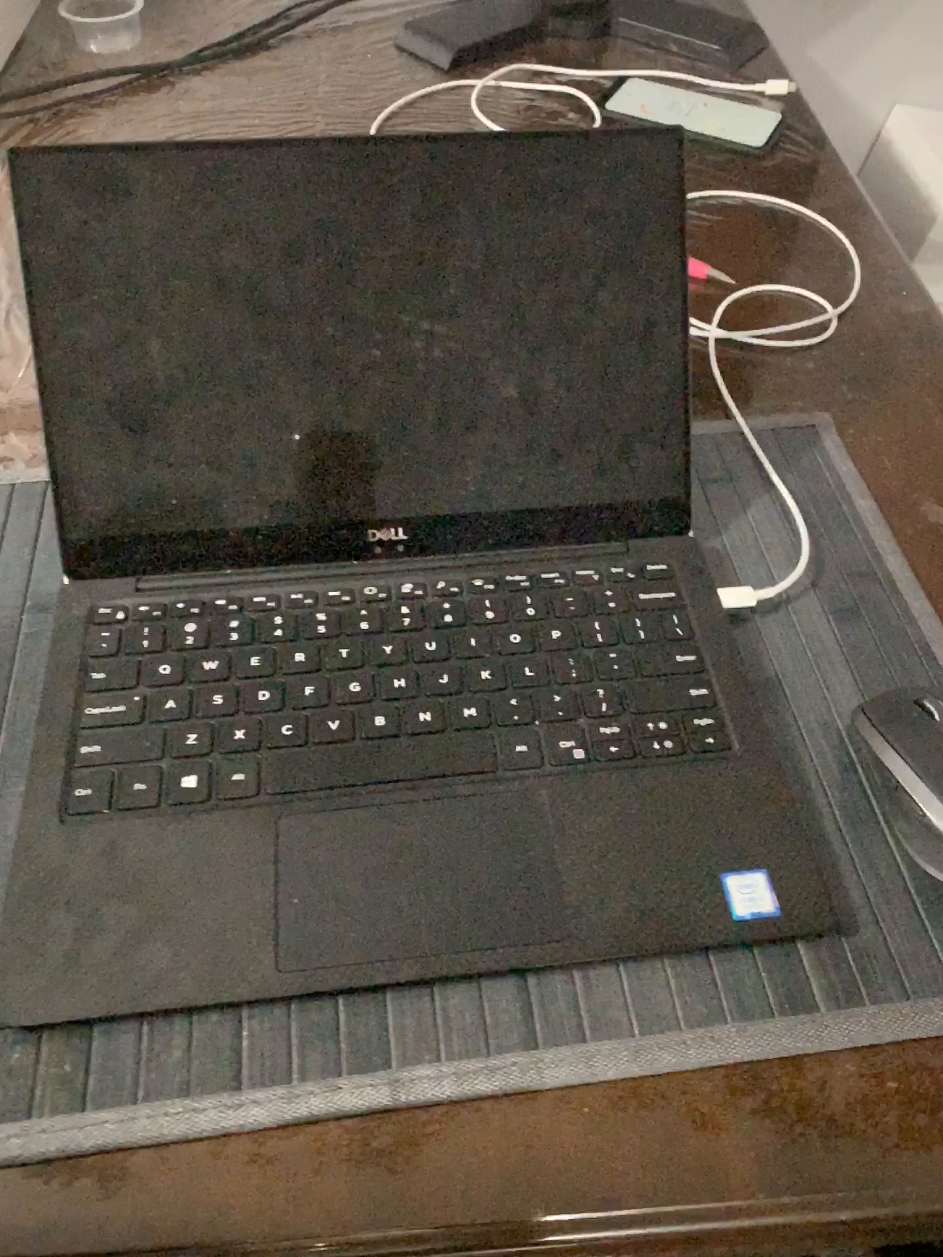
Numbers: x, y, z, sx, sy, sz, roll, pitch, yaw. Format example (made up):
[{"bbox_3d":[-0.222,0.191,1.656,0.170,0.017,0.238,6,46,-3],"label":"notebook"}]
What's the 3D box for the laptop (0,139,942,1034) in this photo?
[{"bbox_3d":[-0.028,-0.042,0.358,0.281,0.129,0.299,-5,51,-6],"label":"laptop"}]
